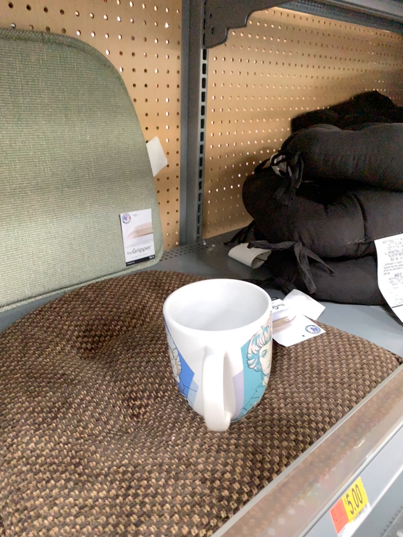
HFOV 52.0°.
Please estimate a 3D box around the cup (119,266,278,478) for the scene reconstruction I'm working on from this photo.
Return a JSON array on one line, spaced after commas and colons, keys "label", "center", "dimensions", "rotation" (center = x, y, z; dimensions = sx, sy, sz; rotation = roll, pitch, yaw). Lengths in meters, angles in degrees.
[{"label": "cup", "center": [0.007, 0.073, 0.341], "dimensions": [0.090, 0.100, 0.129], "rotation": [6, 24, 16]}]
